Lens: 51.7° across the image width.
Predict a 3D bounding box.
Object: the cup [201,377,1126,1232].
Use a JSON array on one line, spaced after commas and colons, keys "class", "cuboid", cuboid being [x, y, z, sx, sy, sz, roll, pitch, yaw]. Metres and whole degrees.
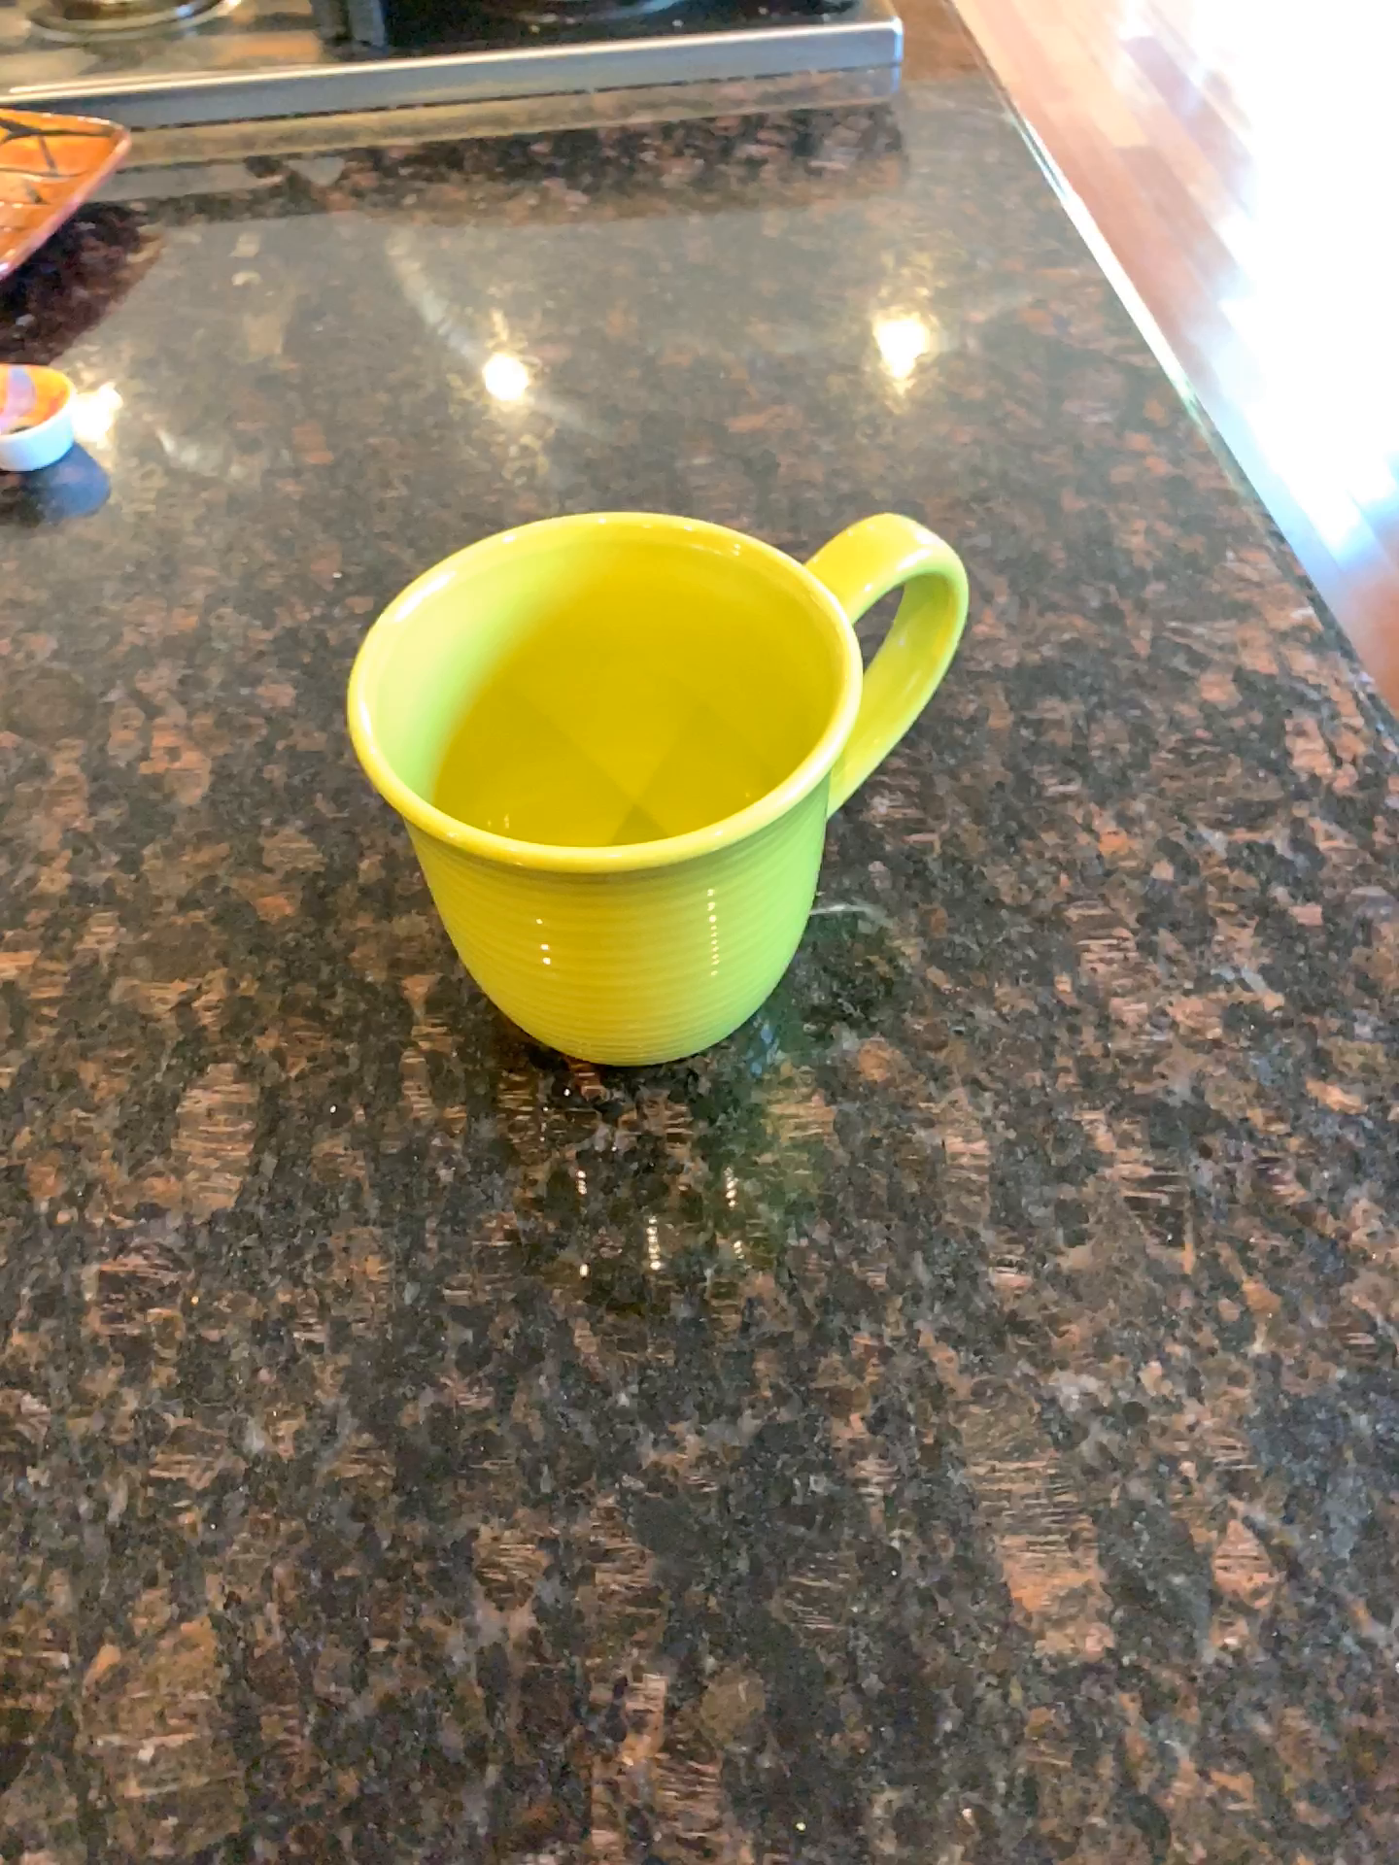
[{"class": "cup", "cuboid": [-0.005, -0.036, 0.320, 0.150, 0.080, 0.110, -36, 59, -24]}]
